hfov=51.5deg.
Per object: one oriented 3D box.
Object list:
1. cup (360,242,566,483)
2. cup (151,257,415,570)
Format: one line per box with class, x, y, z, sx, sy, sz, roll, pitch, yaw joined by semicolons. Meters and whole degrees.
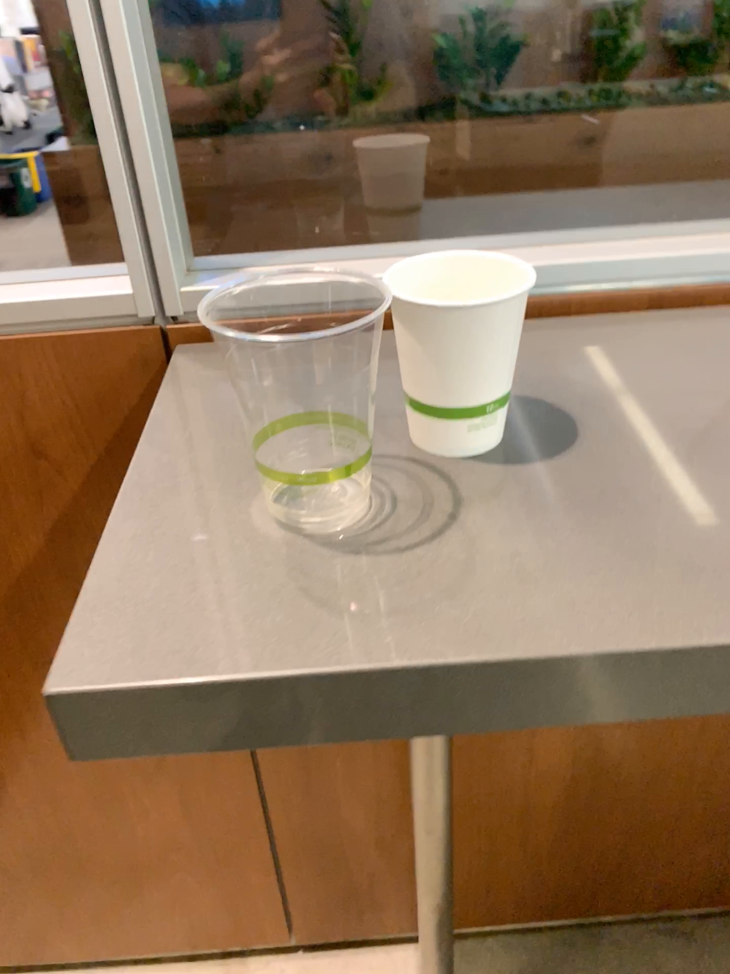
cup;0.060;-0.080;0.466;0.090;0.109;0.080;19;39;32
cup;-0.038;-0.043;0.402;0.090;0.119;0.090;-3;33;2
